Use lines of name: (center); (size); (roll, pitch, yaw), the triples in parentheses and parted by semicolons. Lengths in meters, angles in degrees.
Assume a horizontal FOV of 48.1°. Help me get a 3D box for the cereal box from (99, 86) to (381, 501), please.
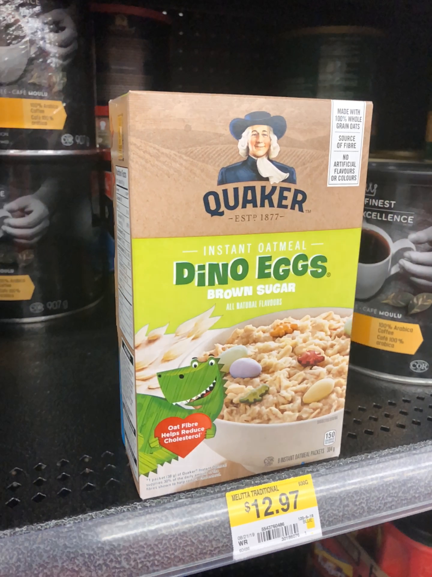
cereal box: (0.009, -0.001, 0.278); (0.130, 0.199, 0.070); (-5, 16, -19)
